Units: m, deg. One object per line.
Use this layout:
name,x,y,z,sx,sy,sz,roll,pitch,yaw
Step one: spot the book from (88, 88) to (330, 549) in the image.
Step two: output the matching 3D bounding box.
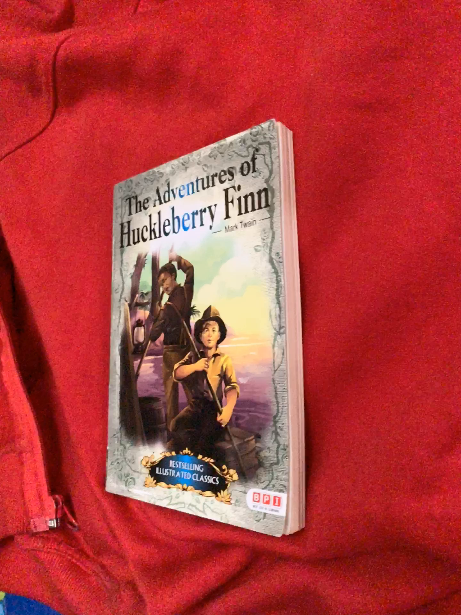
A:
book,-0.018,0.005,0.235,0.131,0.020,0.180,-7,79,39
